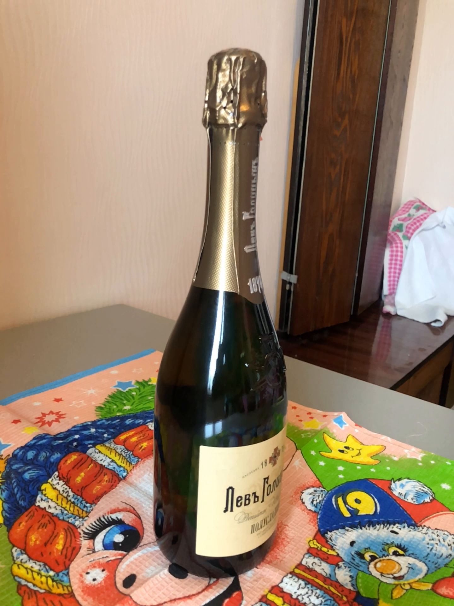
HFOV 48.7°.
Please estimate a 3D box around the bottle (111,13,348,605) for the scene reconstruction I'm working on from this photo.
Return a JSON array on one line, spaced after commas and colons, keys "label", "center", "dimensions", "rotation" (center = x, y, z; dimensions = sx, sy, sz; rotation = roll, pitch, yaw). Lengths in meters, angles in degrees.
[{"label": "bottle", "center": [-0.004, 0.009, 0.313], "dimensions": [0.093, 0.309, 0.090], "rotation": [2, 16, -1]}]
